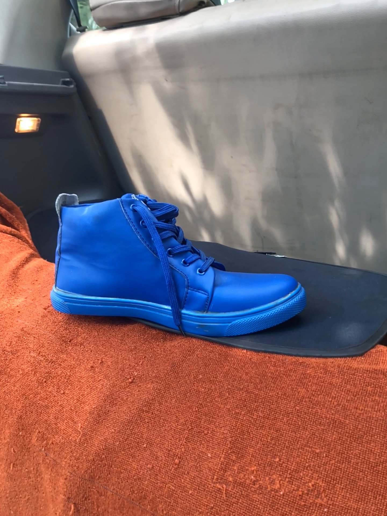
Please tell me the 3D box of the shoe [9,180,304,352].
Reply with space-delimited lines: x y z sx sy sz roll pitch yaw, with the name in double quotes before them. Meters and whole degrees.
"shoe" -0.035 -0.004 0.468 0.290 0.139 0.100 4 19 16
